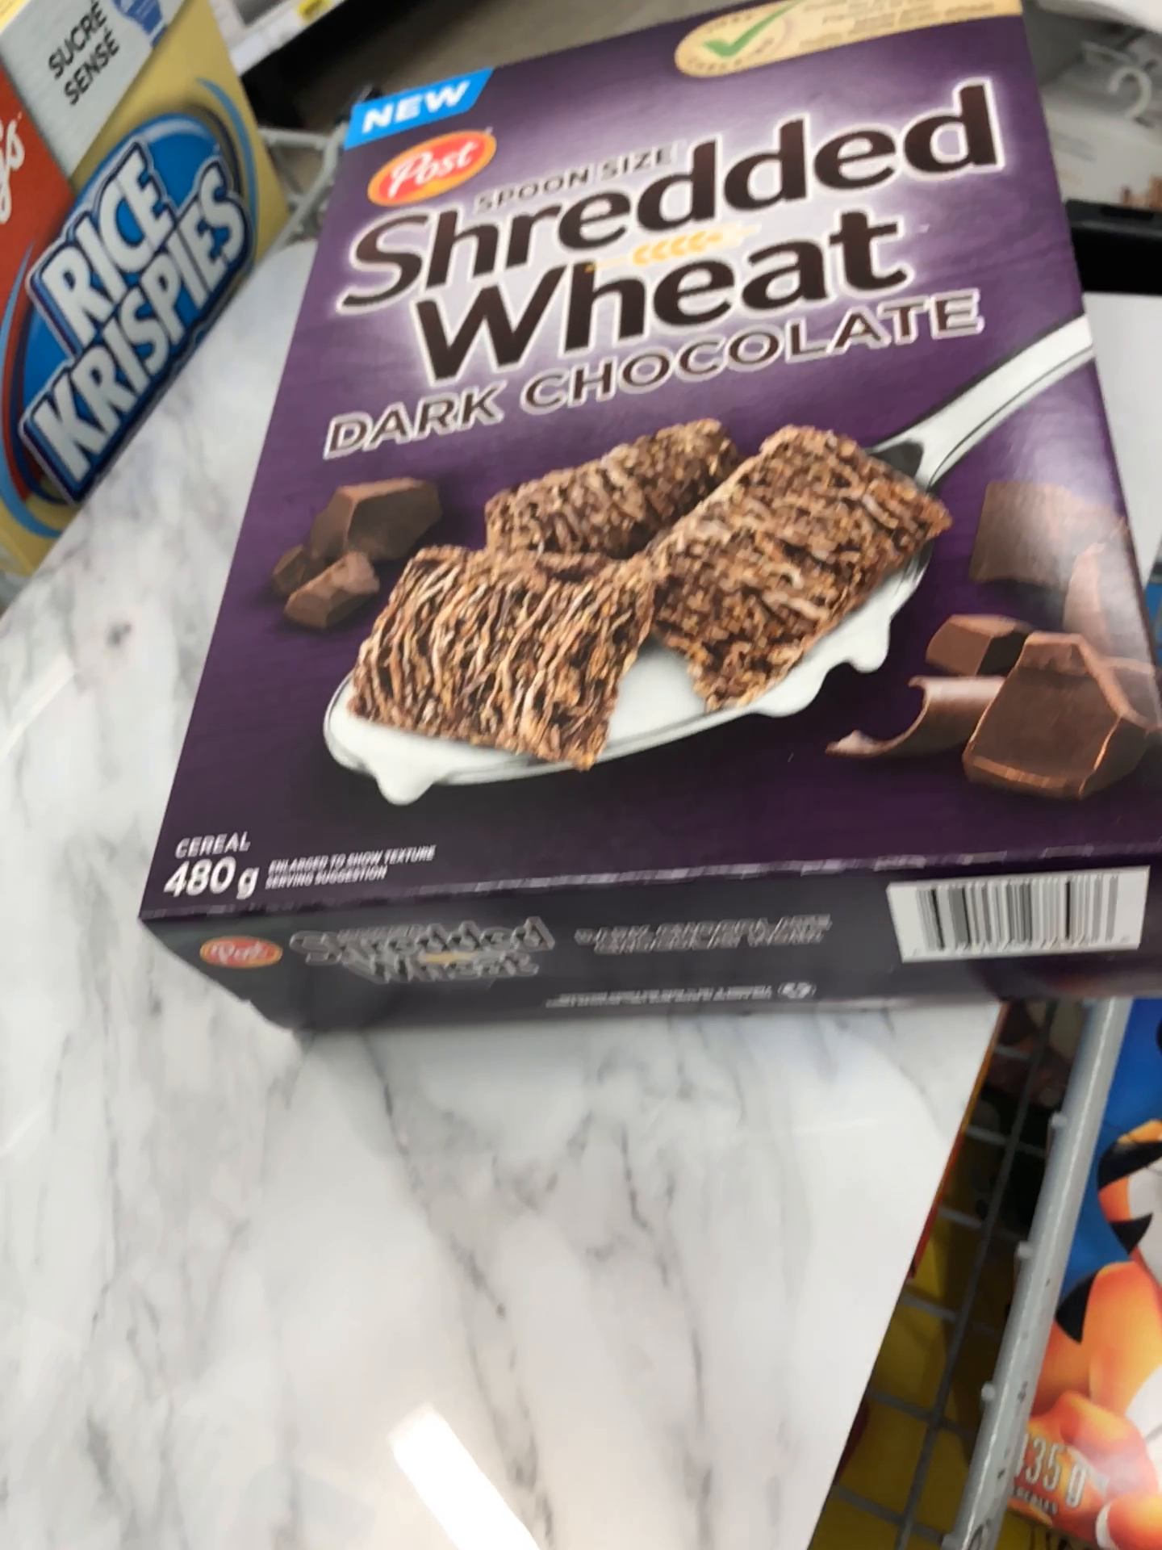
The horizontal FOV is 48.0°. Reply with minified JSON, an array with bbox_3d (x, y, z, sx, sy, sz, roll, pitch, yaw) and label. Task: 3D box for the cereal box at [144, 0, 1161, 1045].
[{"bbox_3d":[0.023,-0.084,0.338,0.190,0.070,0.290,-4,59,14],"label":"cereal box"}]
